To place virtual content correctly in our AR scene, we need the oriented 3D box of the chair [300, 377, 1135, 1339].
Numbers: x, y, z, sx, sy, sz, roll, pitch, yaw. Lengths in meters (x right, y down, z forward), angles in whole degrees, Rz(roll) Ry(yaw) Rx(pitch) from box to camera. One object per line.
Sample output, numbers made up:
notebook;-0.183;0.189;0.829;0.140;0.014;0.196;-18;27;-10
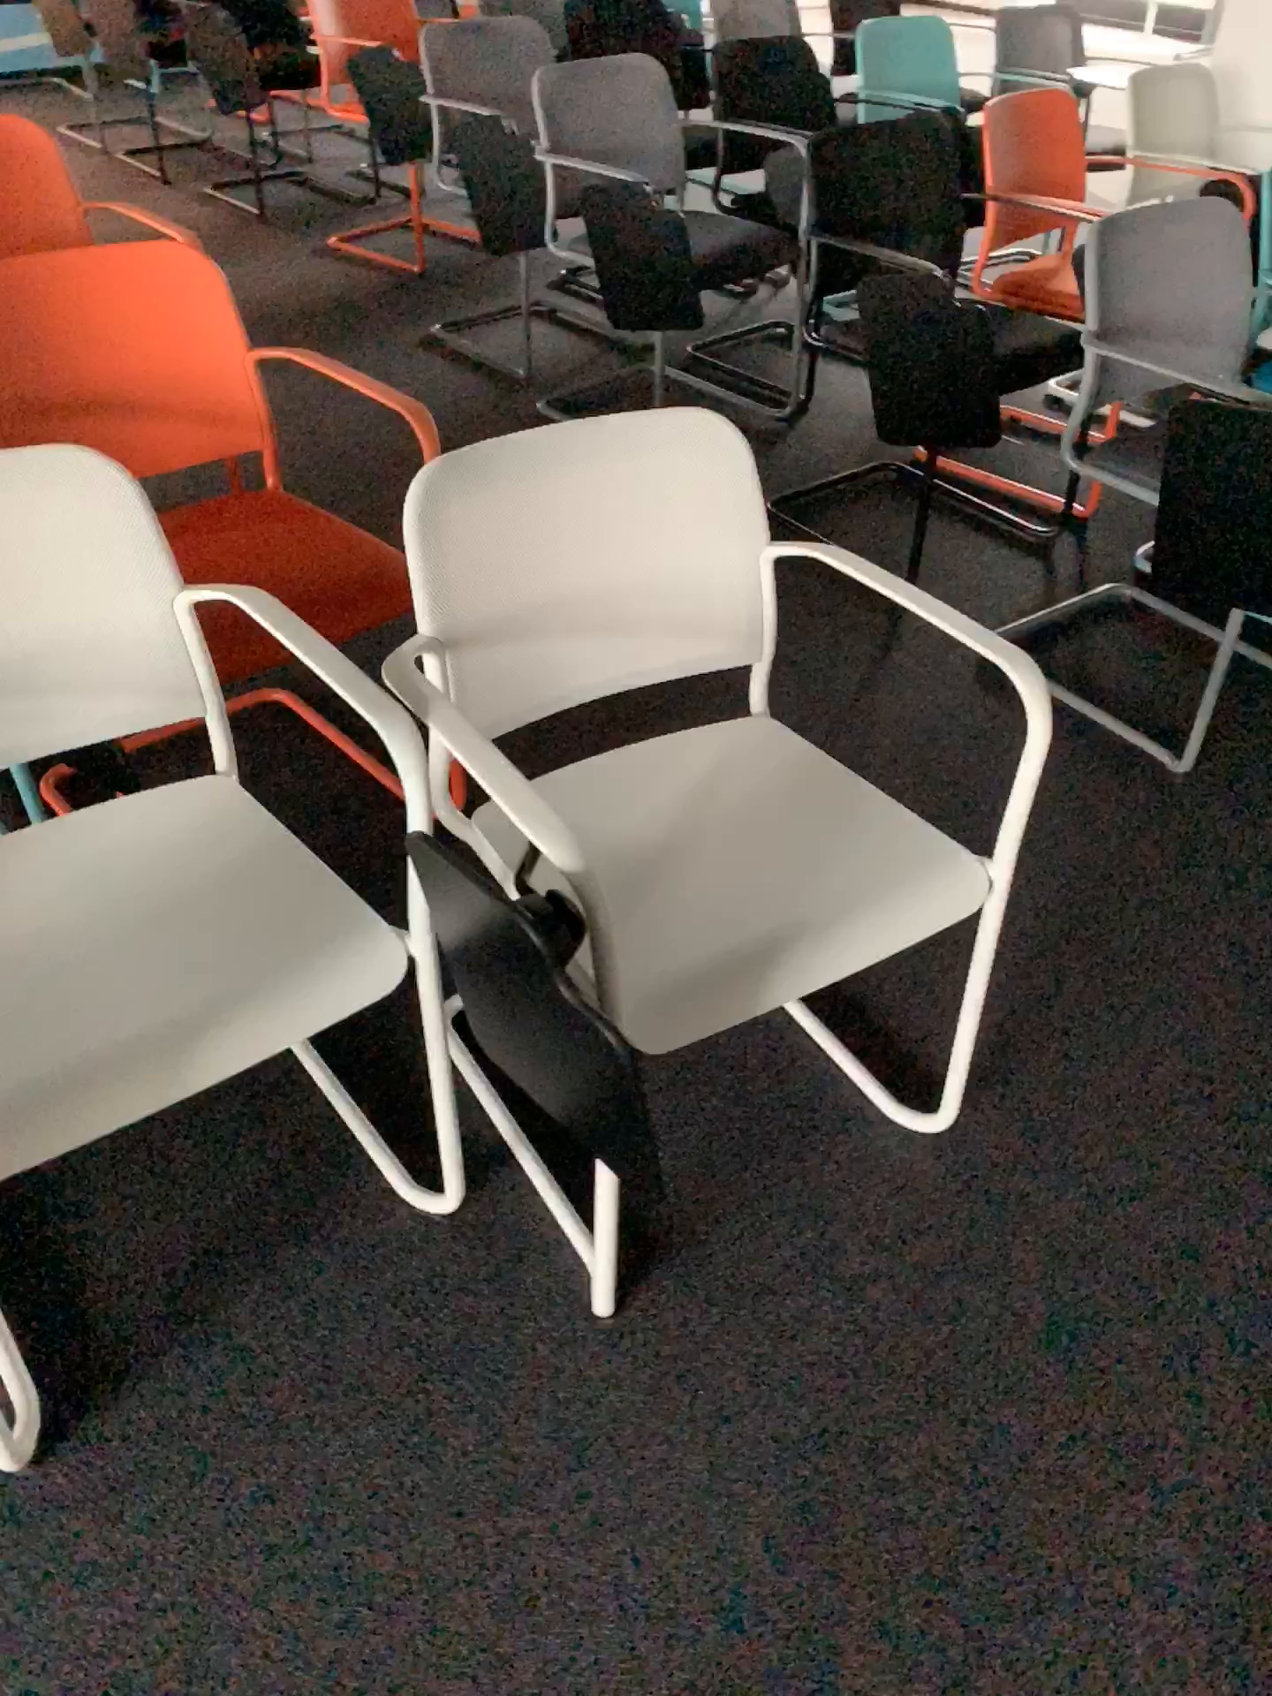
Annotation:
chair;0.044;-0.011;1.440;0.562;0.756;0.552;-20;45;-26
